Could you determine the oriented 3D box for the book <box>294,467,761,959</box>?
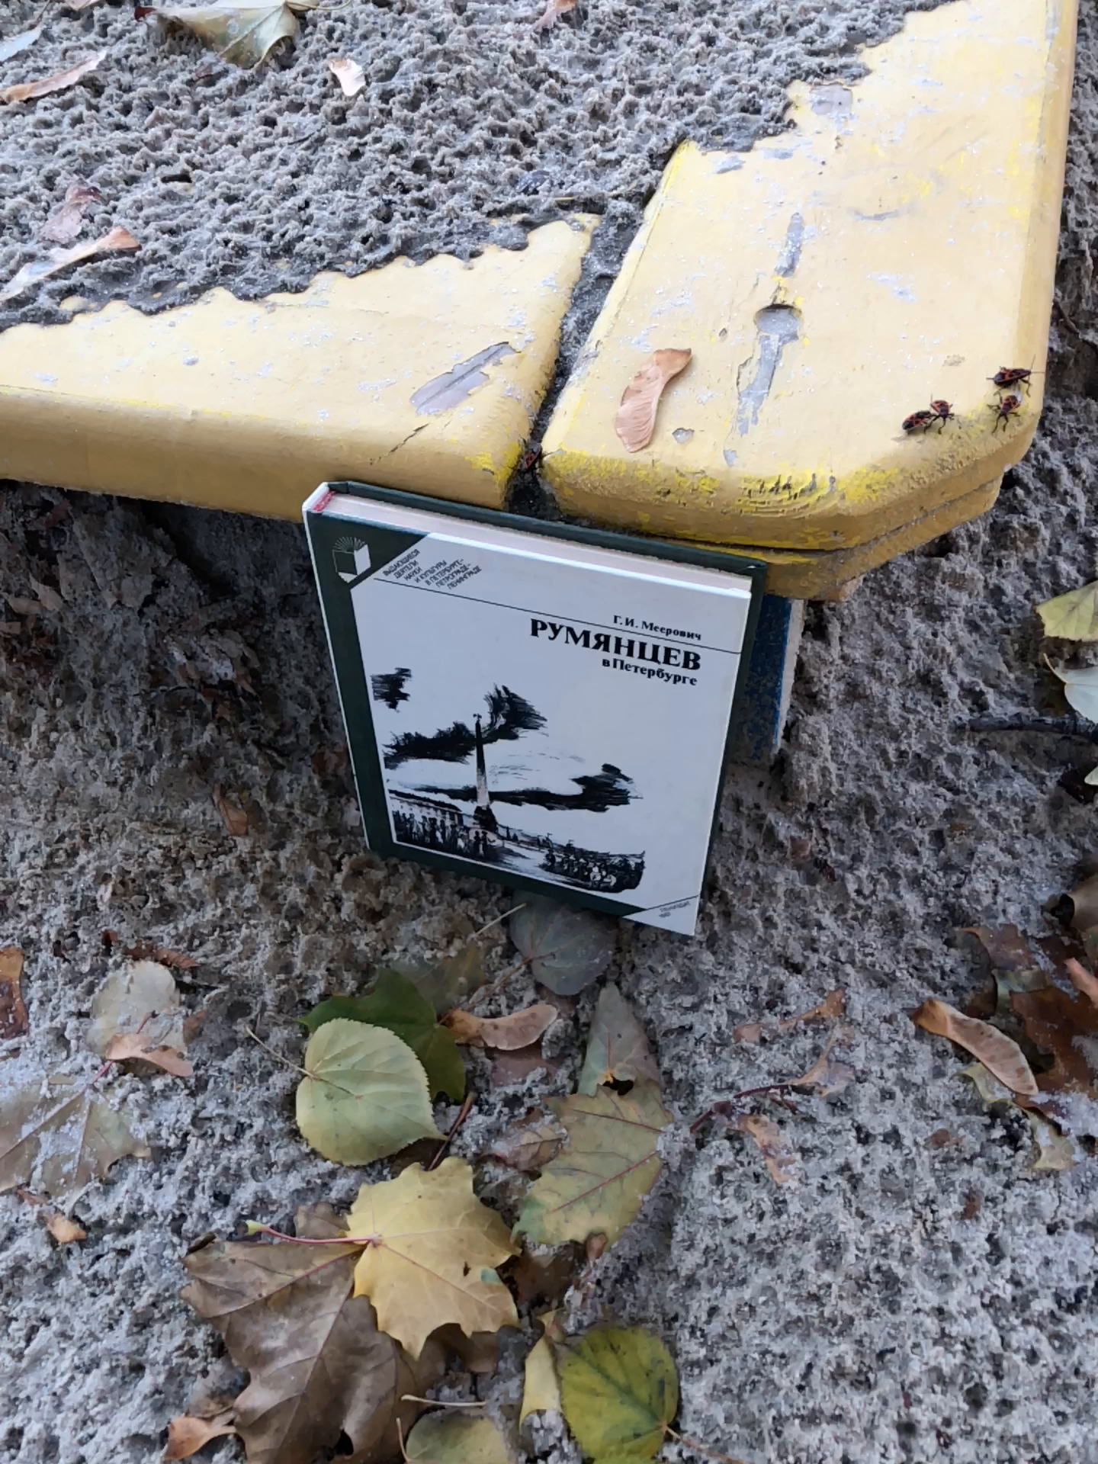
[{"bbox_3d":[-0.007,-0.002,0.405,0.140,0.155,0.020,15,43,18],"label":"book"}]
